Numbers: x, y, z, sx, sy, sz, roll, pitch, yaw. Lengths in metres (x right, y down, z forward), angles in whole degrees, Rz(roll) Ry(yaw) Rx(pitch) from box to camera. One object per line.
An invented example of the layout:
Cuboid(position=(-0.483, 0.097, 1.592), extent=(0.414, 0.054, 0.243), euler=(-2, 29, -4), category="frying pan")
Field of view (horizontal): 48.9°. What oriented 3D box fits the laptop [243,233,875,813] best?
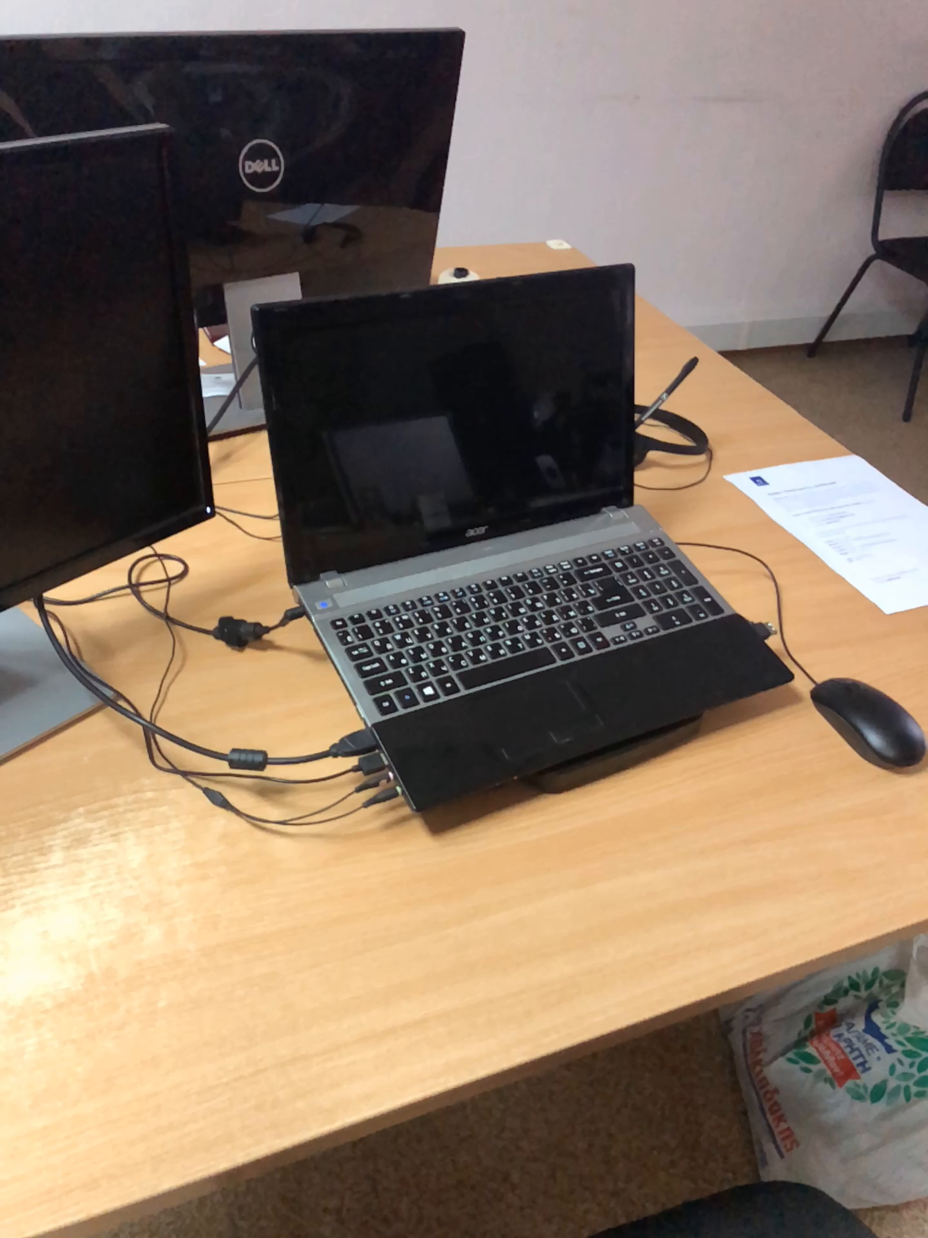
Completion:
Cuboid(position=(0.058, -0.112, 0.852), extent=(0.370, 0.215, 0.353), euler=(-15, 49, -25), category="laptop")
